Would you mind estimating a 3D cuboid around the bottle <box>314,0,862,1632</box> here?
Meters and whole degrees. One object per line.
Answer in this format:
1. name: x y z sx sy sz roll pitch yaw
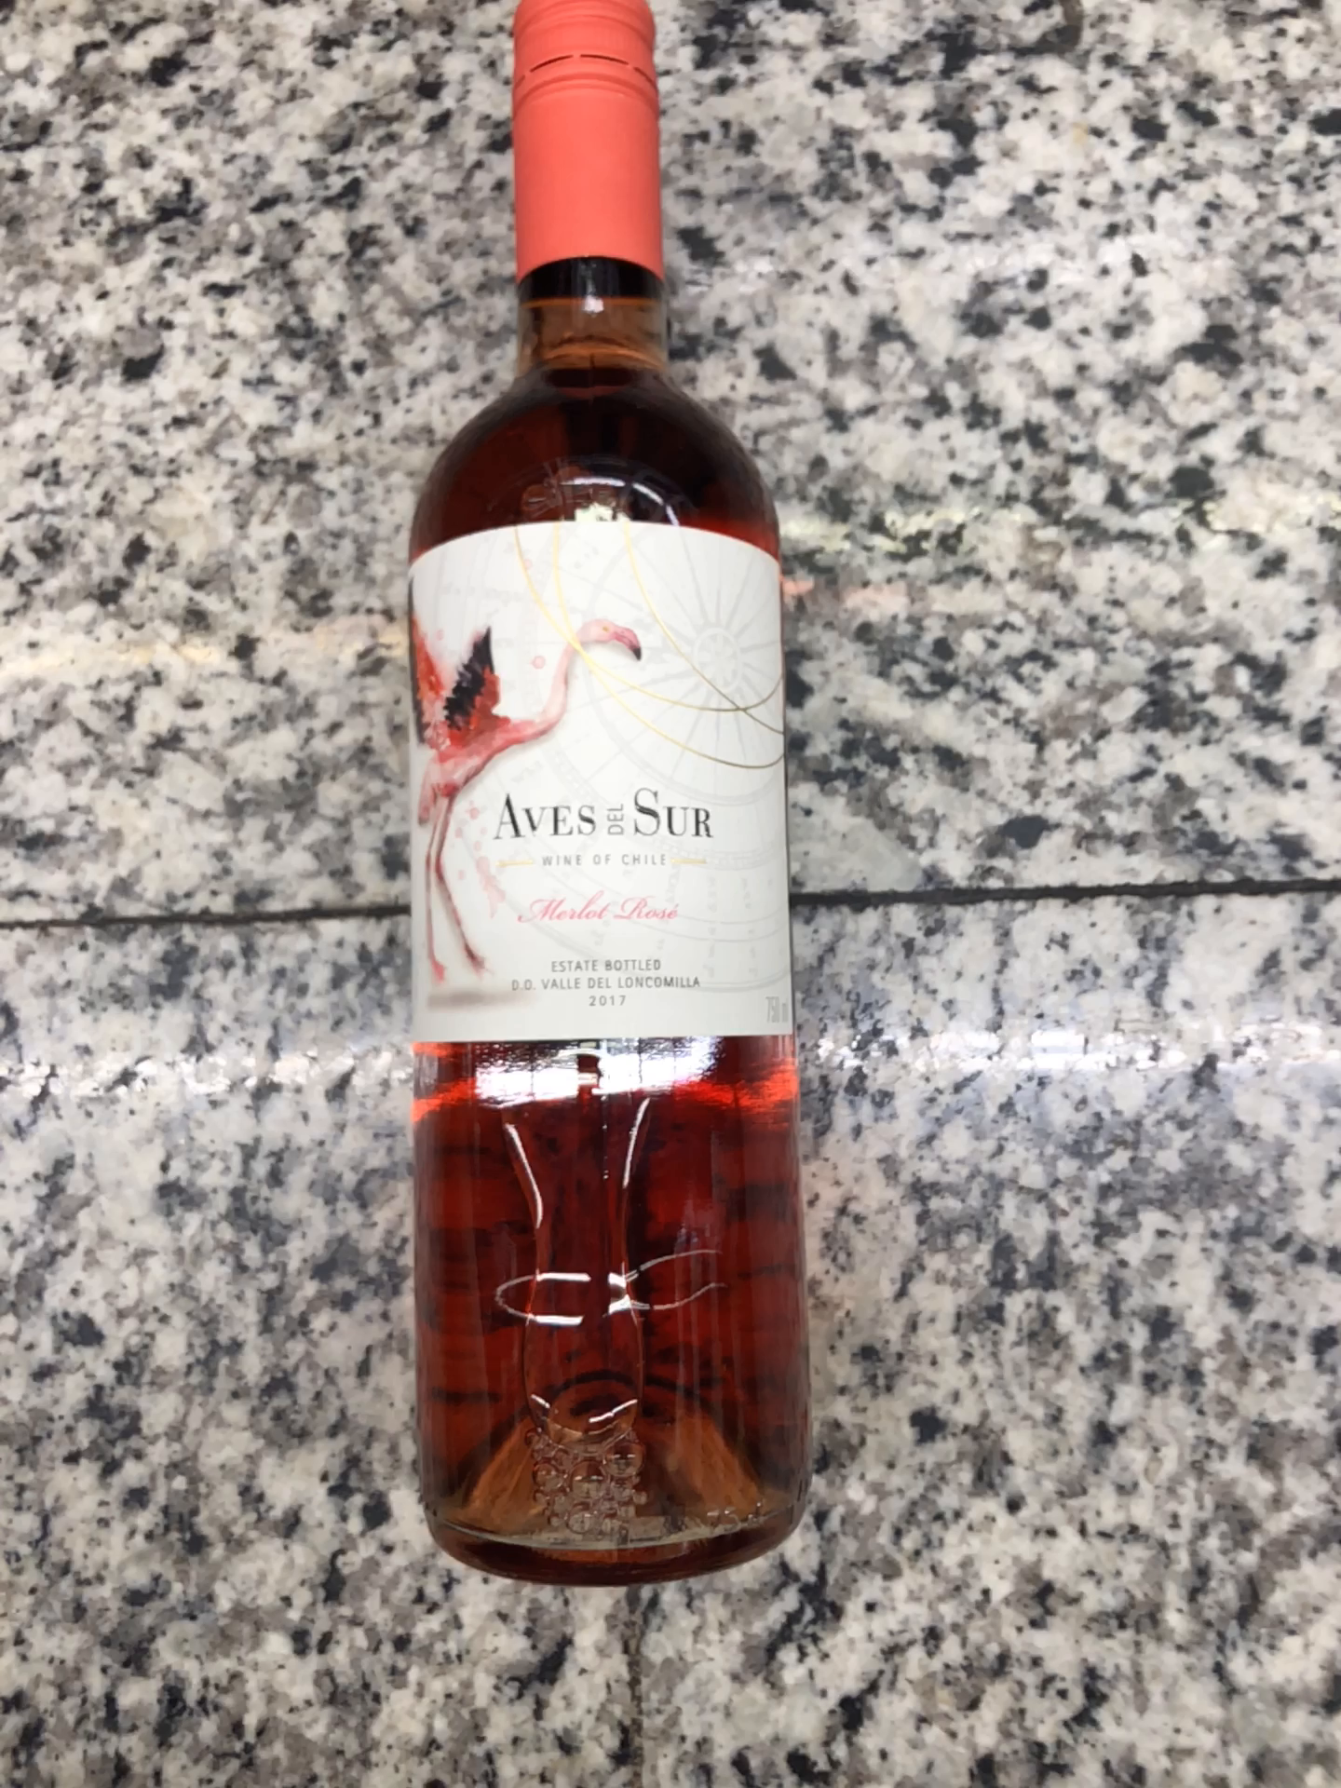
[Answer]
1. bottle: -0.017 -0.038 0.313 0.090 0.070 0.340 -3 83 4
